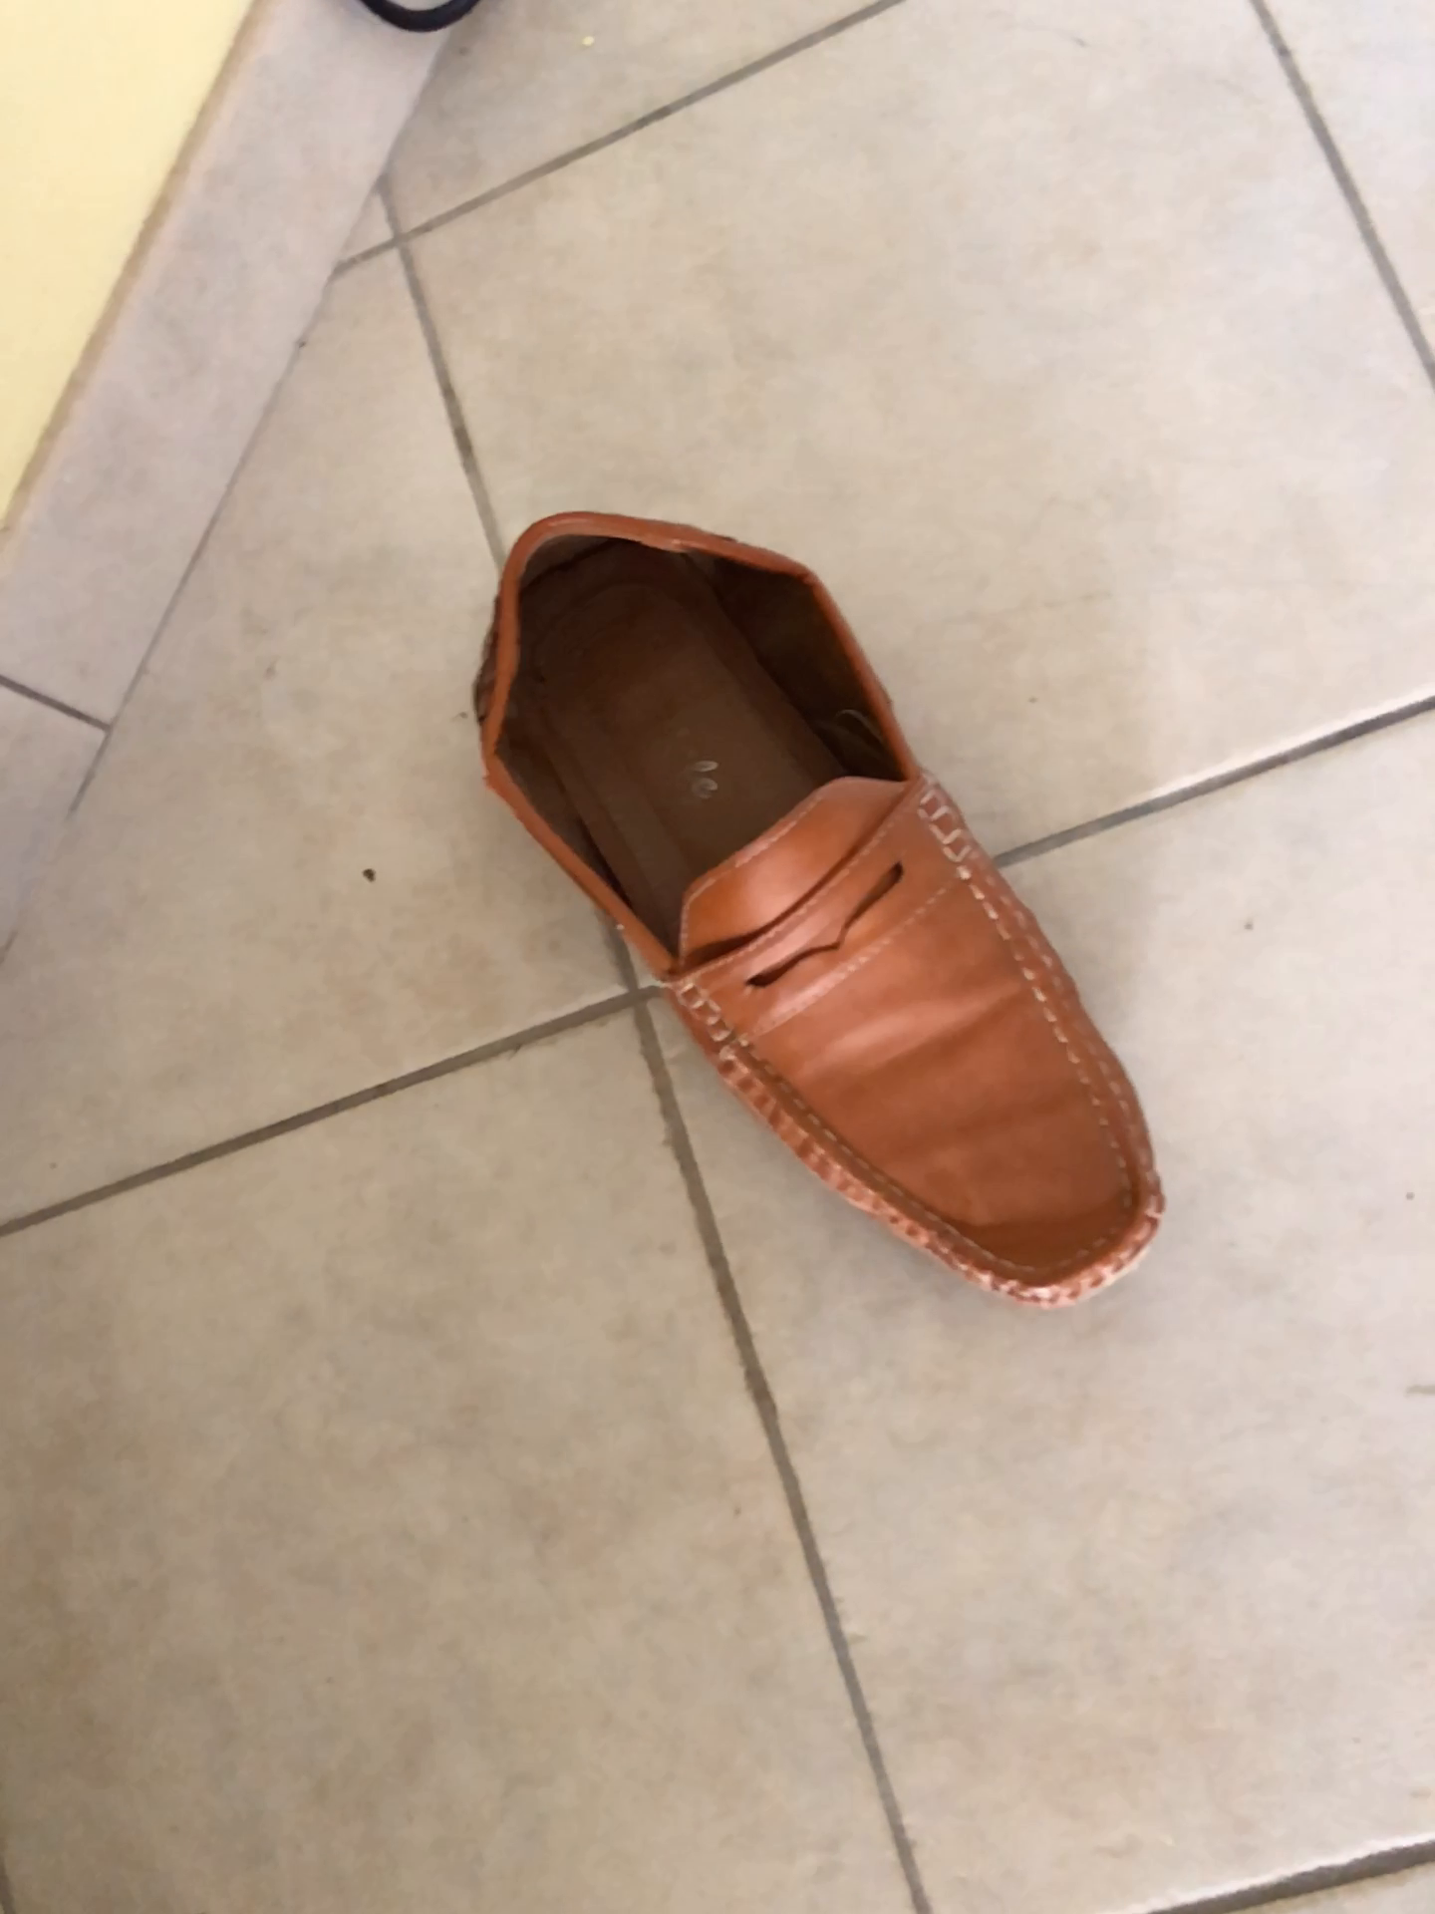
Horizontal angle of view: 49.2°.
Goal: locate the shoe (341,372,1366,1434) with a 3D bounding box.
[{"bbox_3d":[0.032,-0.020,0.461,0.130,0.070,0.280,-42,75,5],"label":"shoe"}]
